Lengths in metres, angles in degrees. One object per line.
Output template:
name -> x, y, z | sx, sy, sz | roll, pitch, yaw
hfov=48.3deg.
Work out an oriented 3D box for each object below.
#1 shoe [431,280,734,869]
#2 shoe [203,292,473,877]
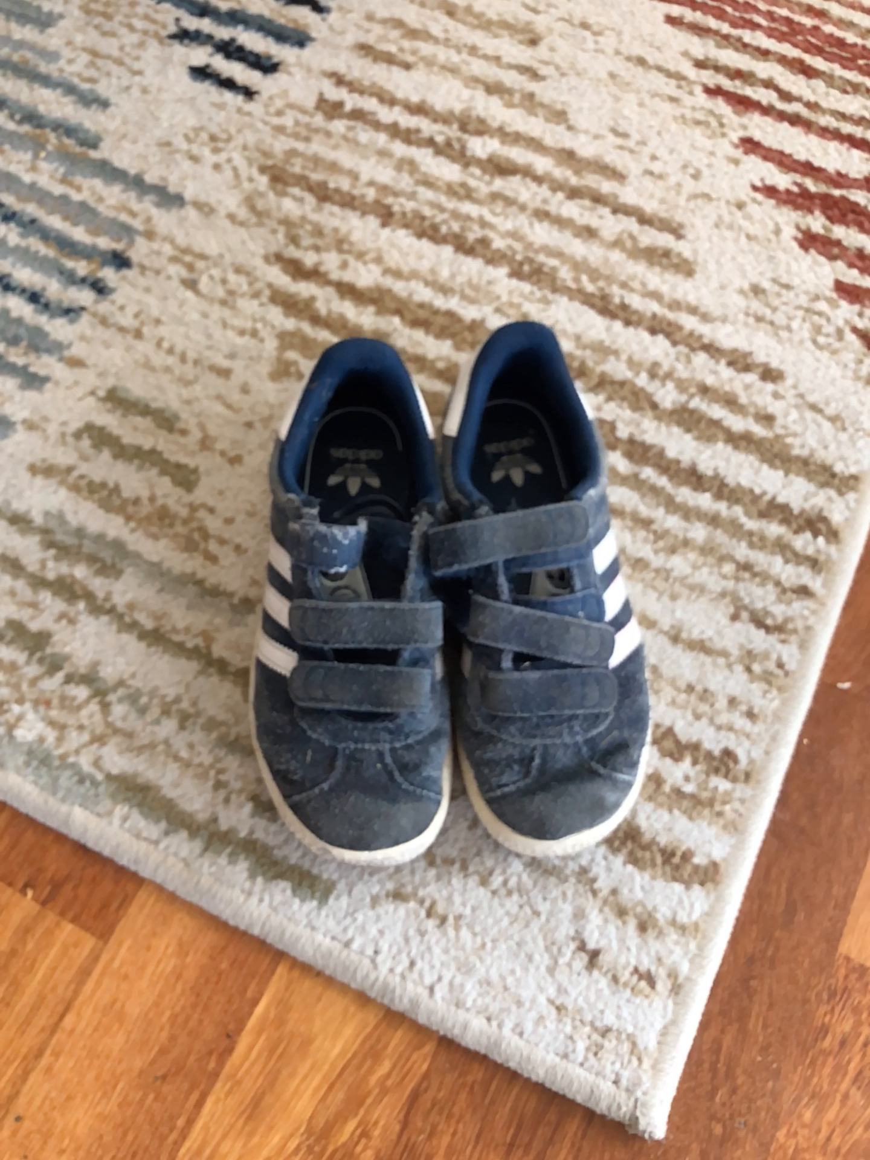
shoe -> 0.047, -0.007, 0.371 | 0.086, 0.052, 0.219 | -2, 69, -2
shoe -> -0.033, -0.003, 0.368 | 0.084, 0.053, 0.217 | 0, 69, -2
